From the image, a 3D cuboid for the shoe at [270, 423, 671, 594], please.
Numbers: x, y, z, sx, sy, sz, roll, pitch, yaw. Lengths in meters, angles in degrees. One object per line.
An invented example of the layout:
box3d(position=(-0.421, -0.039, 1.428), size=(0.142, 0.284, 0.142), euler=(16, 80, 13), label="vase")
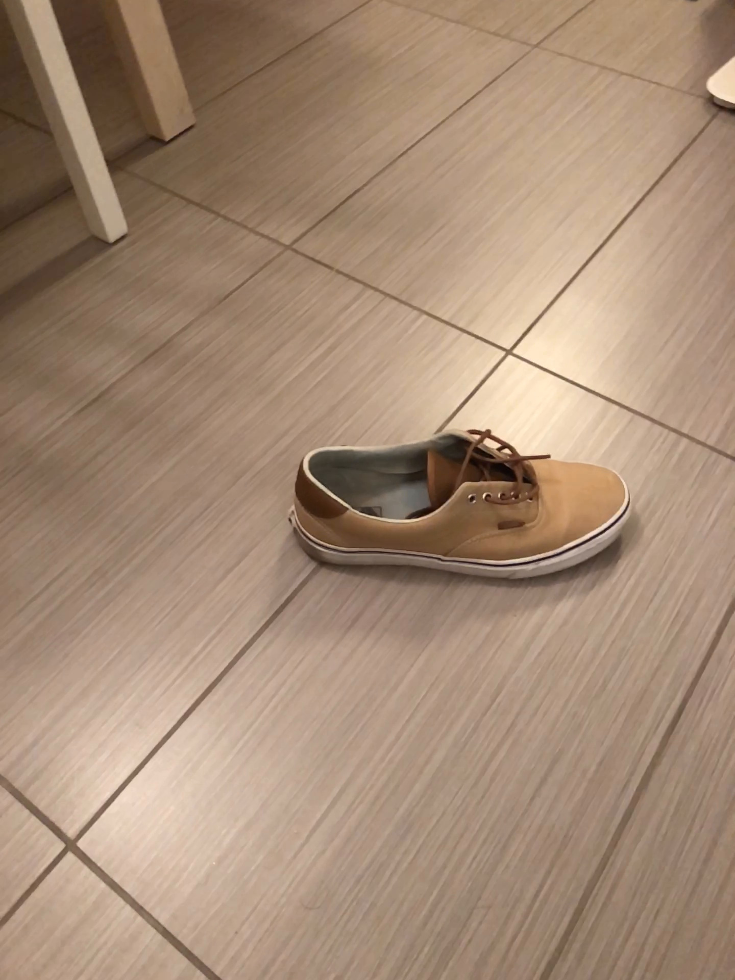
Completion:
box3d(position=(0.079, 0.015, 0.683), size=(0.310, 0.070, 0.111), euler=(-3, 53, -1), label="shoe")
